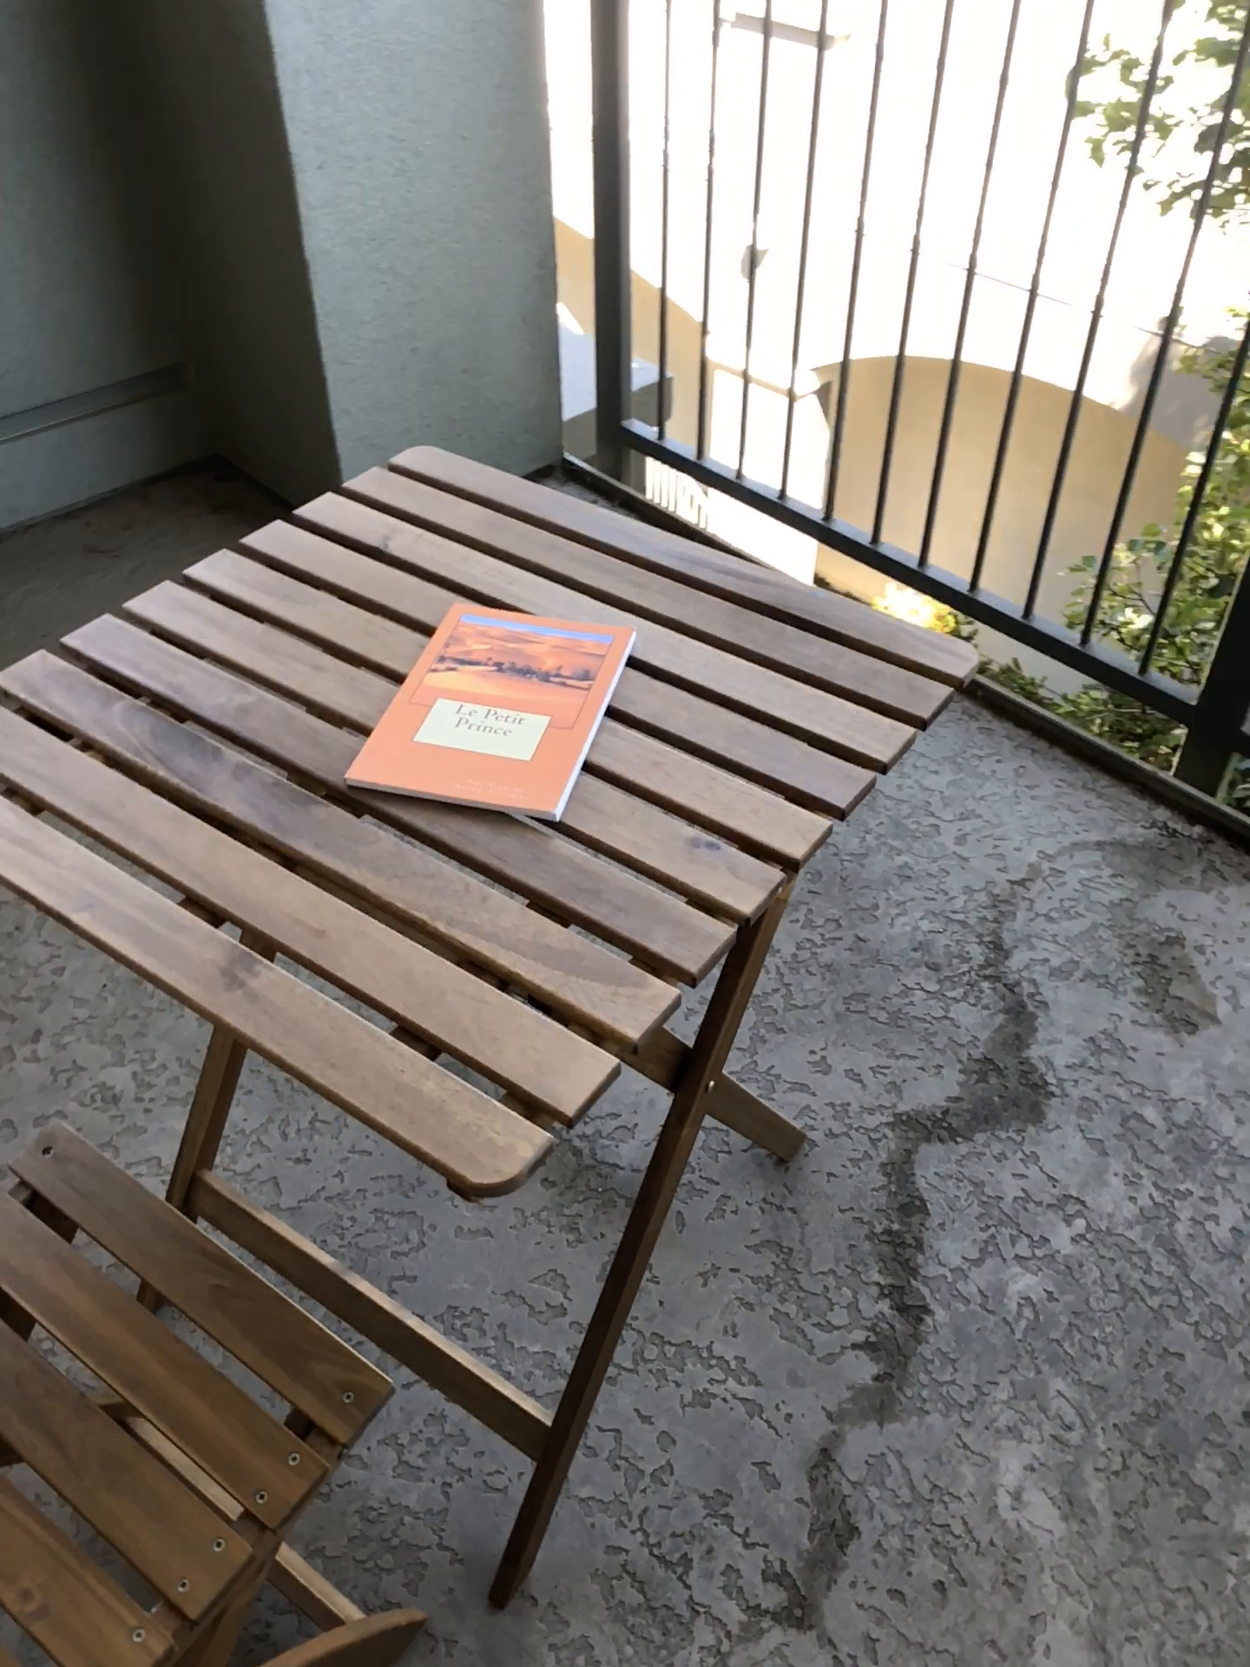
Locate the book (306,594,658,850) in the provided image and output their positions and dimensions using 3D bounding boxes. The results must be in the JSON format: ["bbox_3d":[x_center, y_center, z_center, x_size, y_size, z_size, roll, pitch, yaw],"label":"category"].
[{"bbox_3d":[-0.094,-0.090,0.995,0.180,0.010,0.251,10,43,11],"label":"book"}]
